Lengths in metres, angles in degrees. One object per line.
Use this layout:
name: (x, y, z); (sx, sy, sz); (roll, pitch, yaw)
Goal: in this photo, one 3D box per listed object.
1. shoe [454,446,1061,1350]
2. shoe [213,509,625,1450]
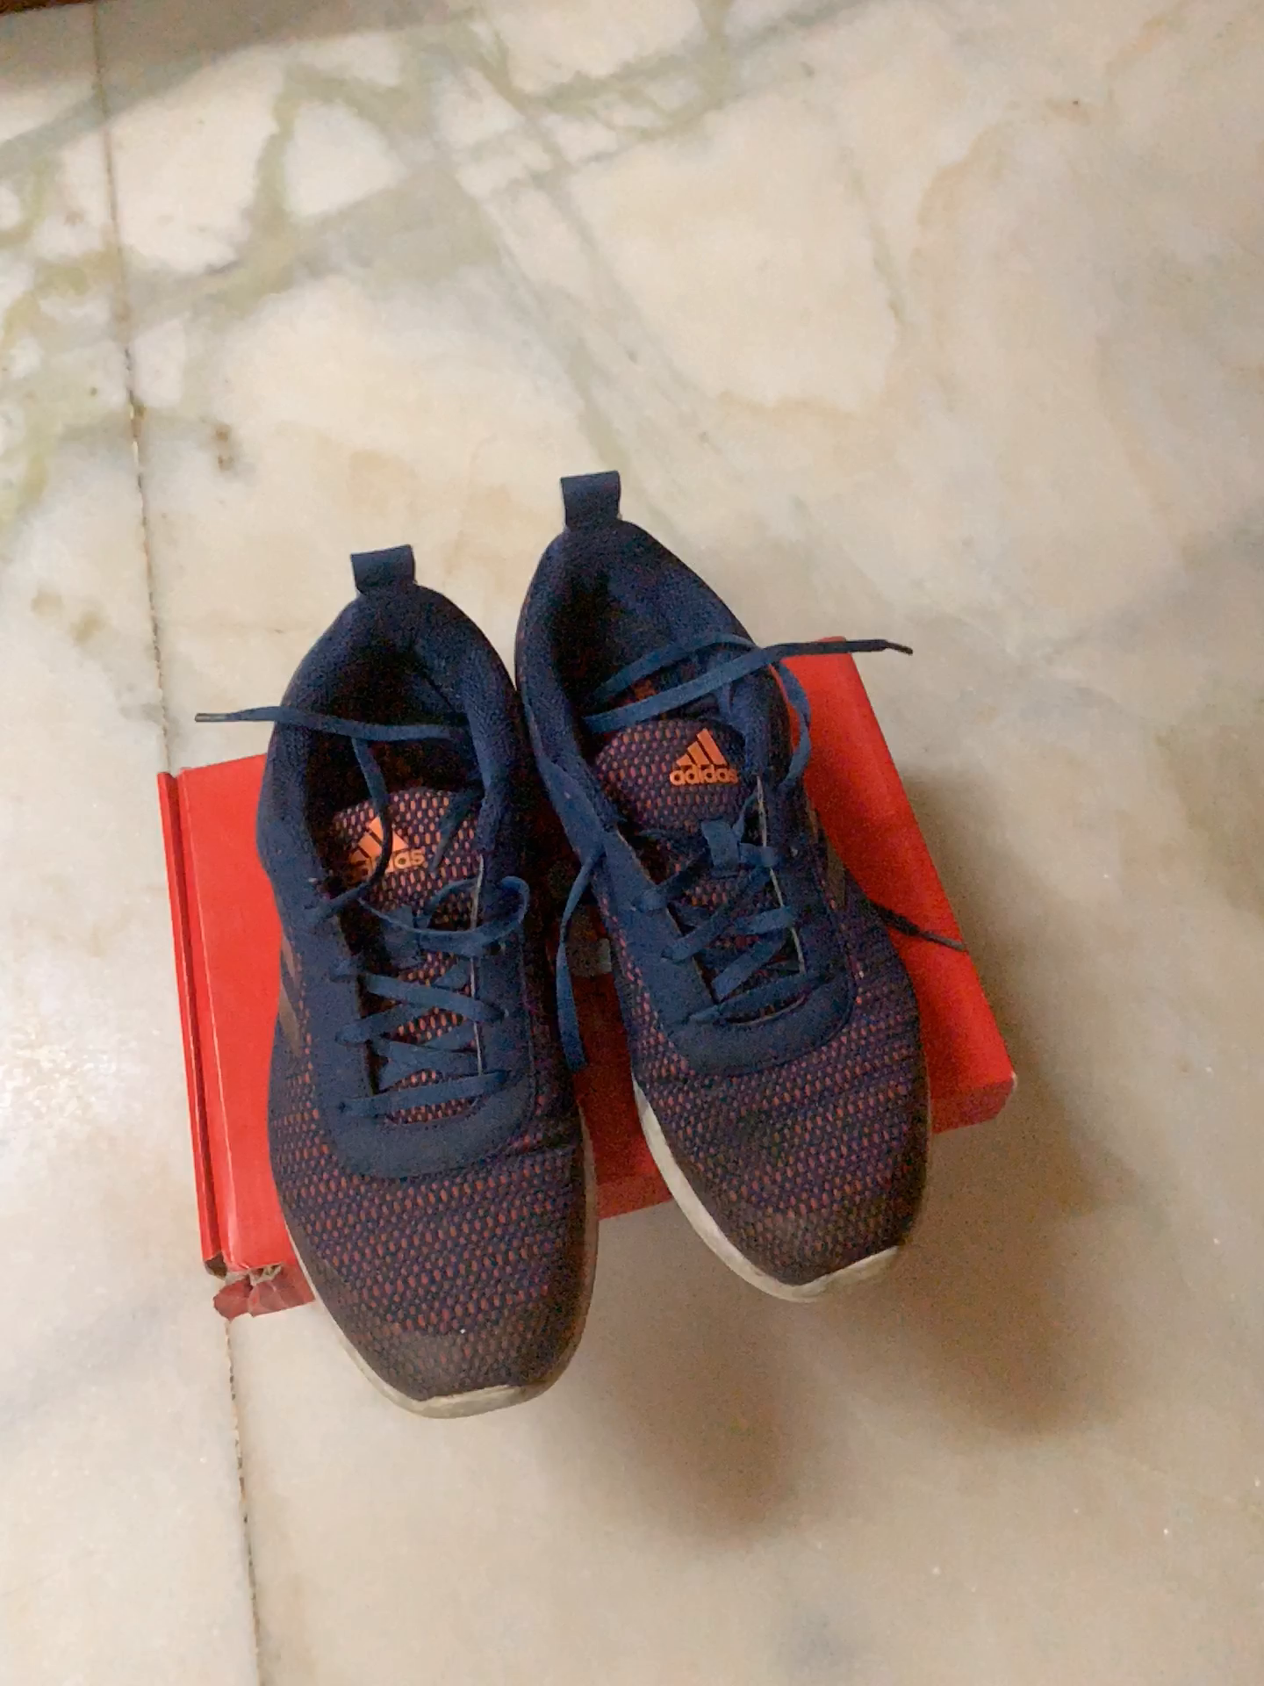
shoe: (0.027, 0.009, 0.439); (0.100, 0.080, 0.281); (-15, 66, -8)
shoe: (-0.078, 0.040, 0.458); (0.100, 0.100, 0.301); (-8, 66, -5)
